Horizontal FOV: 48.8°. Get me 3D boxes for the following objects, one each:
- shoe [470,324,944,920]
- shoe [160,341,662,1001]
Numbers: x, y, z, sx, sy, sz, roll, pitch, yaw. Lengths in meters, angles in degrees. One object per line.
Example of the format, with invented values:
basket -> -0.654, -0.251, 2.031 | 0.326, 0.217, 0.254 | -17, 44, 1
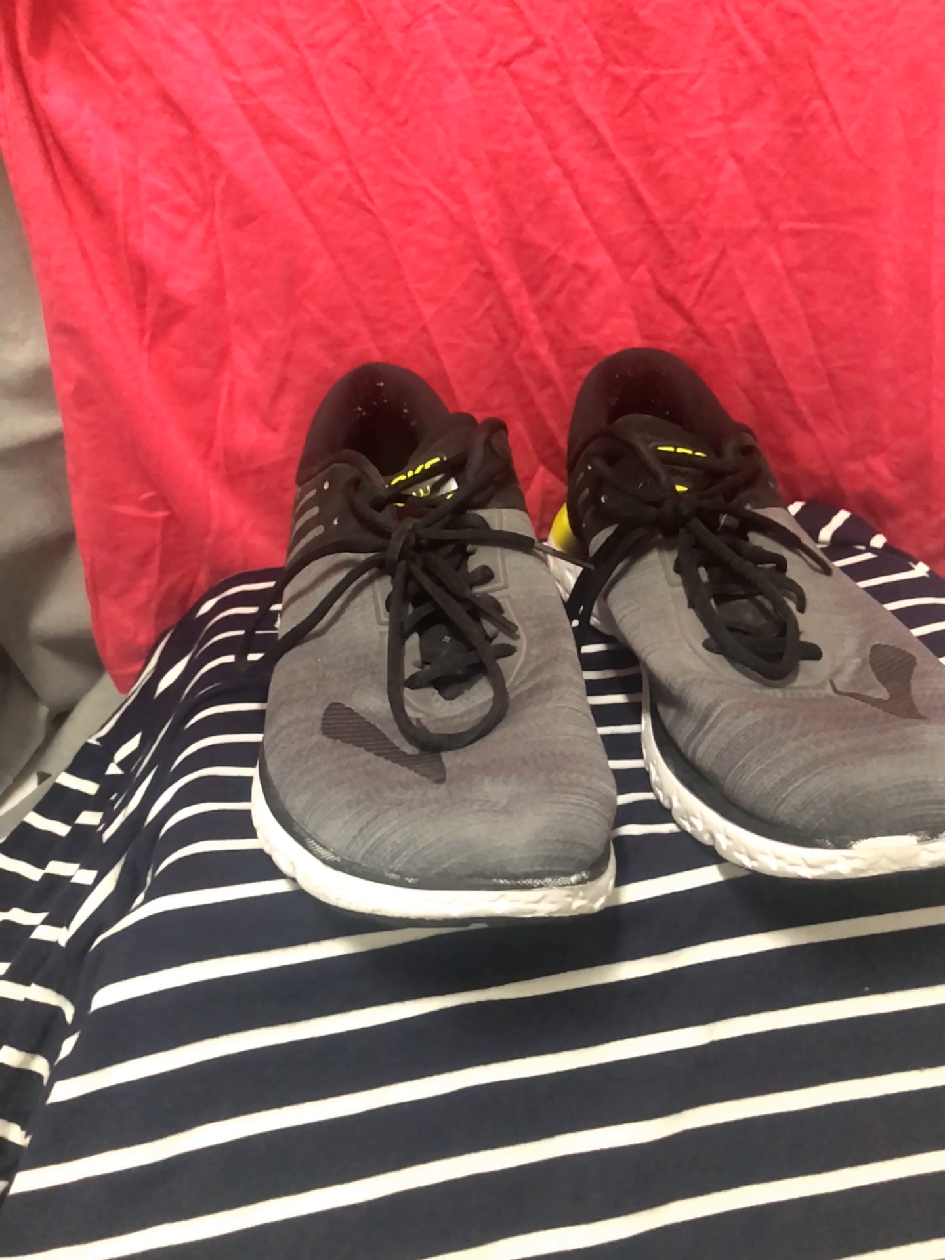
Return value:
shoe -> 0.078, -0.035, 0.365 | 0.104, 0.079, 0.282 | -7, 28, -8
shoe -> -0.039, -0.023, 0.355 | 0.102, 0.079, 0.292 | -8, 28, -10
